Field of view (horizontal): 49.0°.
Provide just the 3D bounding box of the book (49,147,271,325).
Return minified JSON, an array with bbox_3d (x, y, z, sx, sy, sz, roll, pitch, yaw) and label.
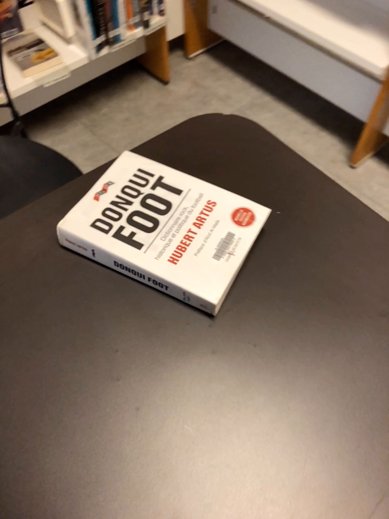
[{"bbox_3d":[-0.037,-0.037,0.506,0.207,0.042,0.148,25,61,14],"label":"book"}]
